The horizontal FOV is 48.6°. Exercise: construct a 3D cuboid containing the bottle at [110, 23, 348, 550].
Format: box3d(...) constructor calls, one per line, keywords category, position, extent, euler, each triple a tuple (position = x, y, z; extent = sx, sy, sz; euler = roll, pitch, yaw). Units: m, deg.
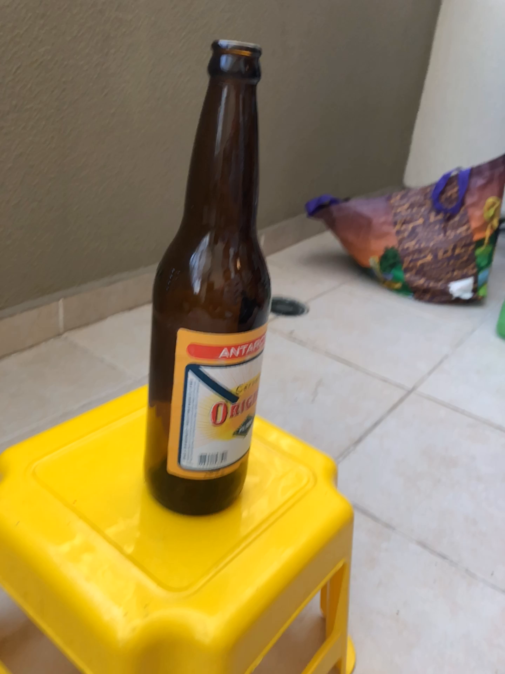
box3d(category="bottle", position=(-0.026, -0.020, 0.343), extent=(0.080, 0.288, 0.080), euler=(7, 25, -3))
